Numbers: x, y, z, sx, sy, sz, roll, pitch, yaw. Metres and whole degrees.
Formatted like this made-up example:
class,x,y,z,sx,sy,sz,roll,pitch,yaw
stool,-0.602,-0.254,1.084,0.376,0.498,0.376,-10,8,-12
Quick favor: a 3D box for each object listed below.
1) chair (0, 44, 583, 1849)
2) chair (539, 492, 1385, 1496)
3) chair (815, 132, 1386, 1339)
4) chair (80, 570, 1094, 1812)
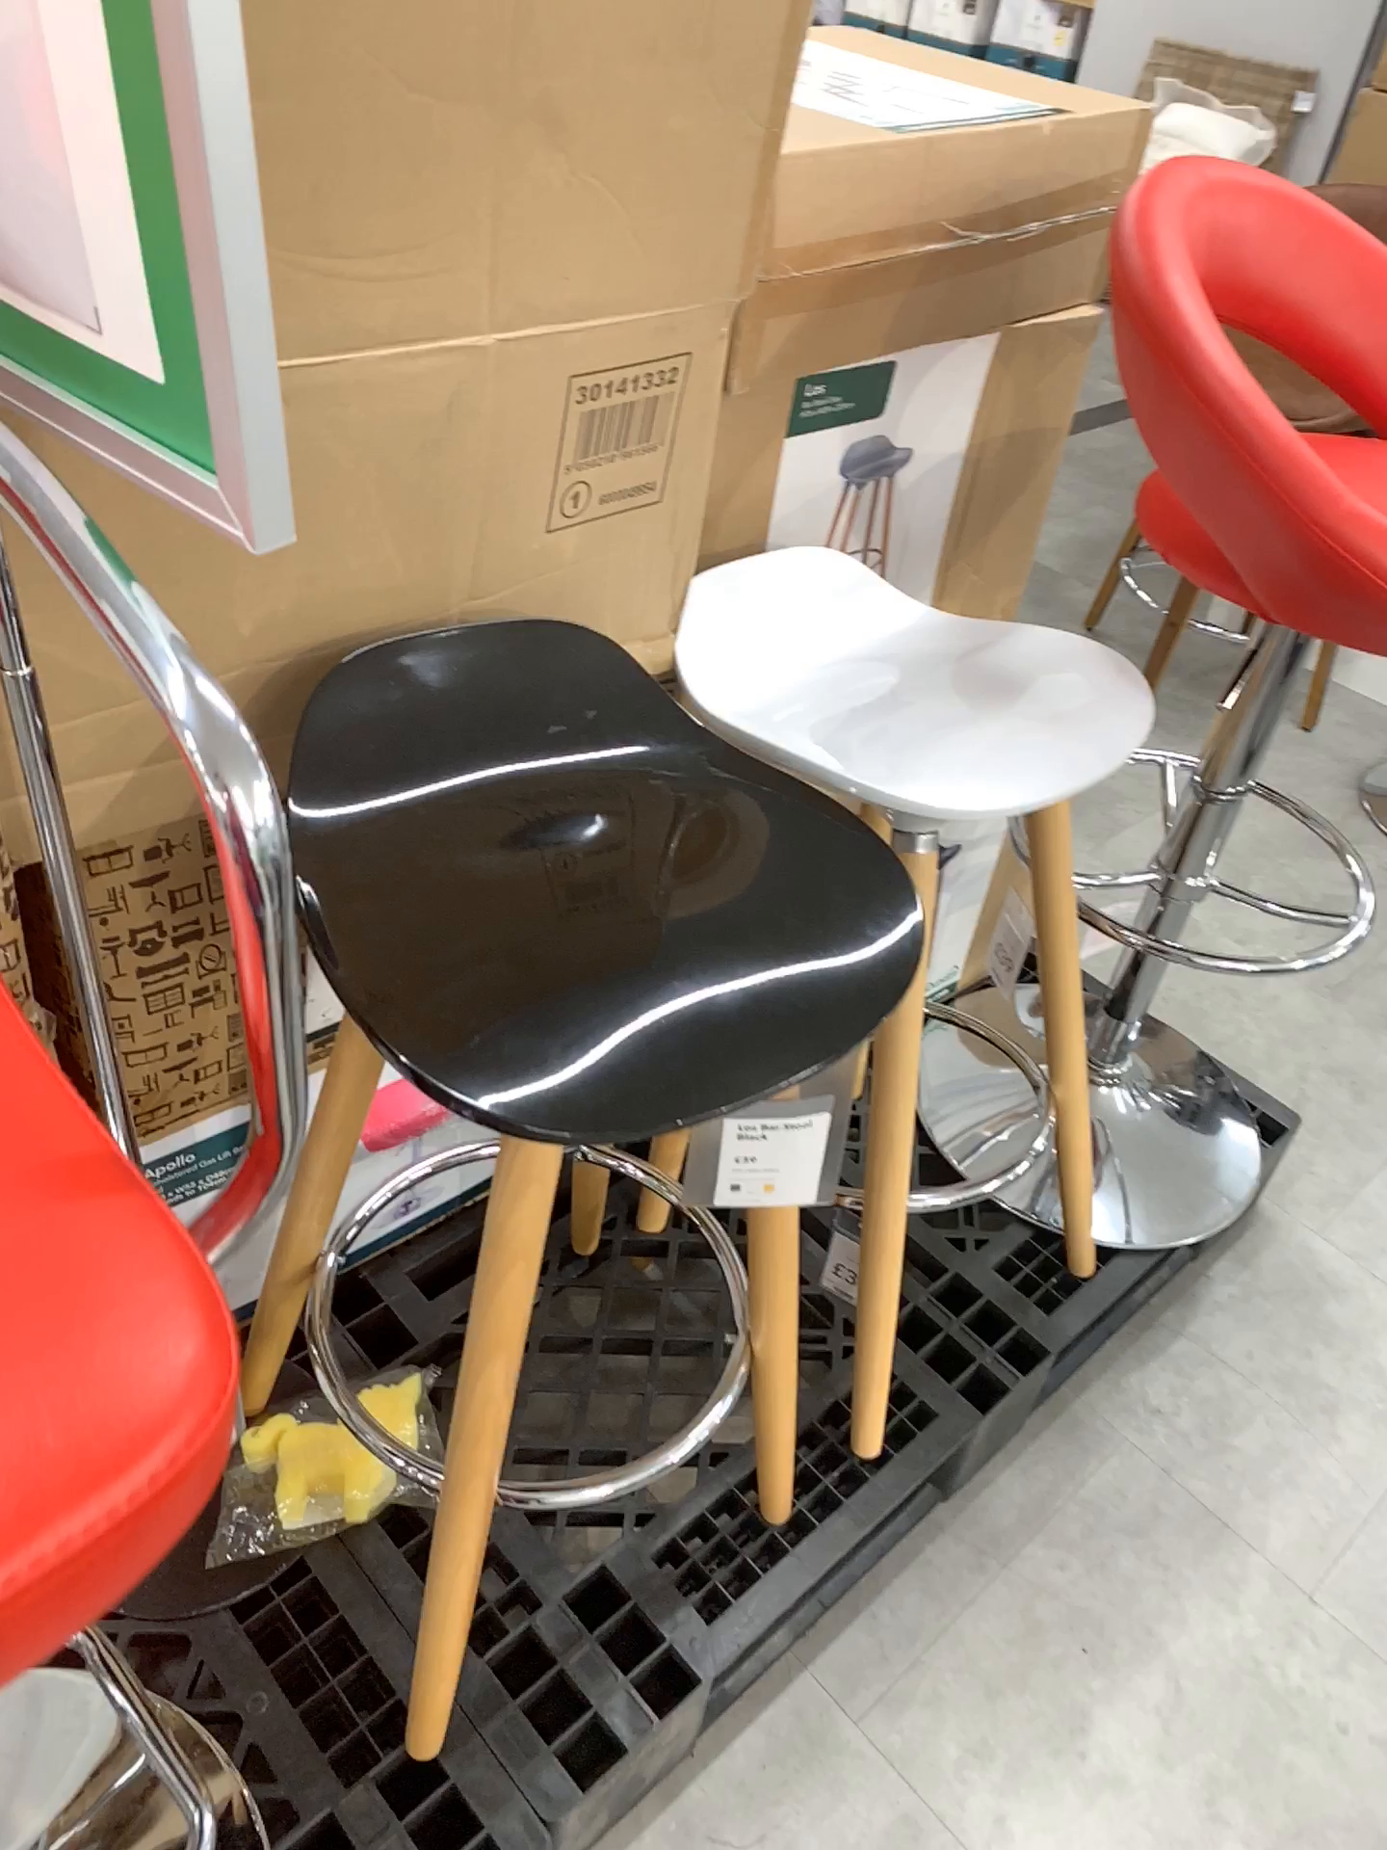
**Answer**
class,x,y,z,sx,sy,sz,roll,pitch,yaw
chair,-0.430,0.294,0.563,0.451,1.029,0.551,34,45,29
chair,0.182,0.048,1.293,0.410,0.663,0.482,-26,49,-35
chair,0.531,-0.174,1.402,0.451,0.980,0.511,34,45,29
chair,-0.106,0.180,1.031,0.430,0.673,0.432,-20,46,-31
